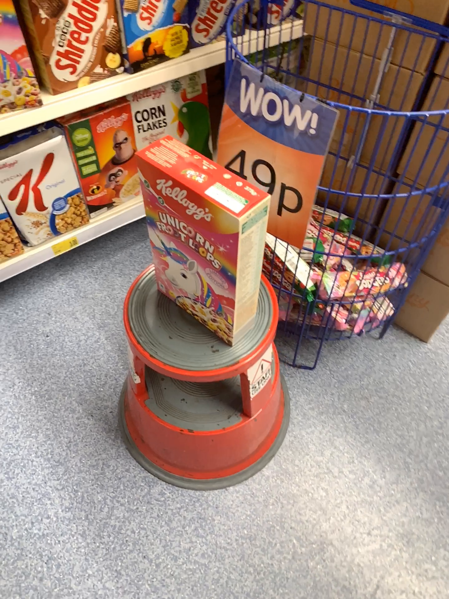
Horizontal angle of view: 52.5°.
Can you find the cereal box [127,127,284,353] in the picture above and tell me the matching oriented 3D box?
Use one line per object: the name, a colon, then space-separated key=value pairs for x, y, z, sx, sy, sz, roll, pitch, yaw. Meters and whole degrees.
cereal box: x=-0.033 y=-0.077 z=0.695 sx=0.211 sy=0.287 sz=0.070 roll=36 pitch=59 yaw=23
